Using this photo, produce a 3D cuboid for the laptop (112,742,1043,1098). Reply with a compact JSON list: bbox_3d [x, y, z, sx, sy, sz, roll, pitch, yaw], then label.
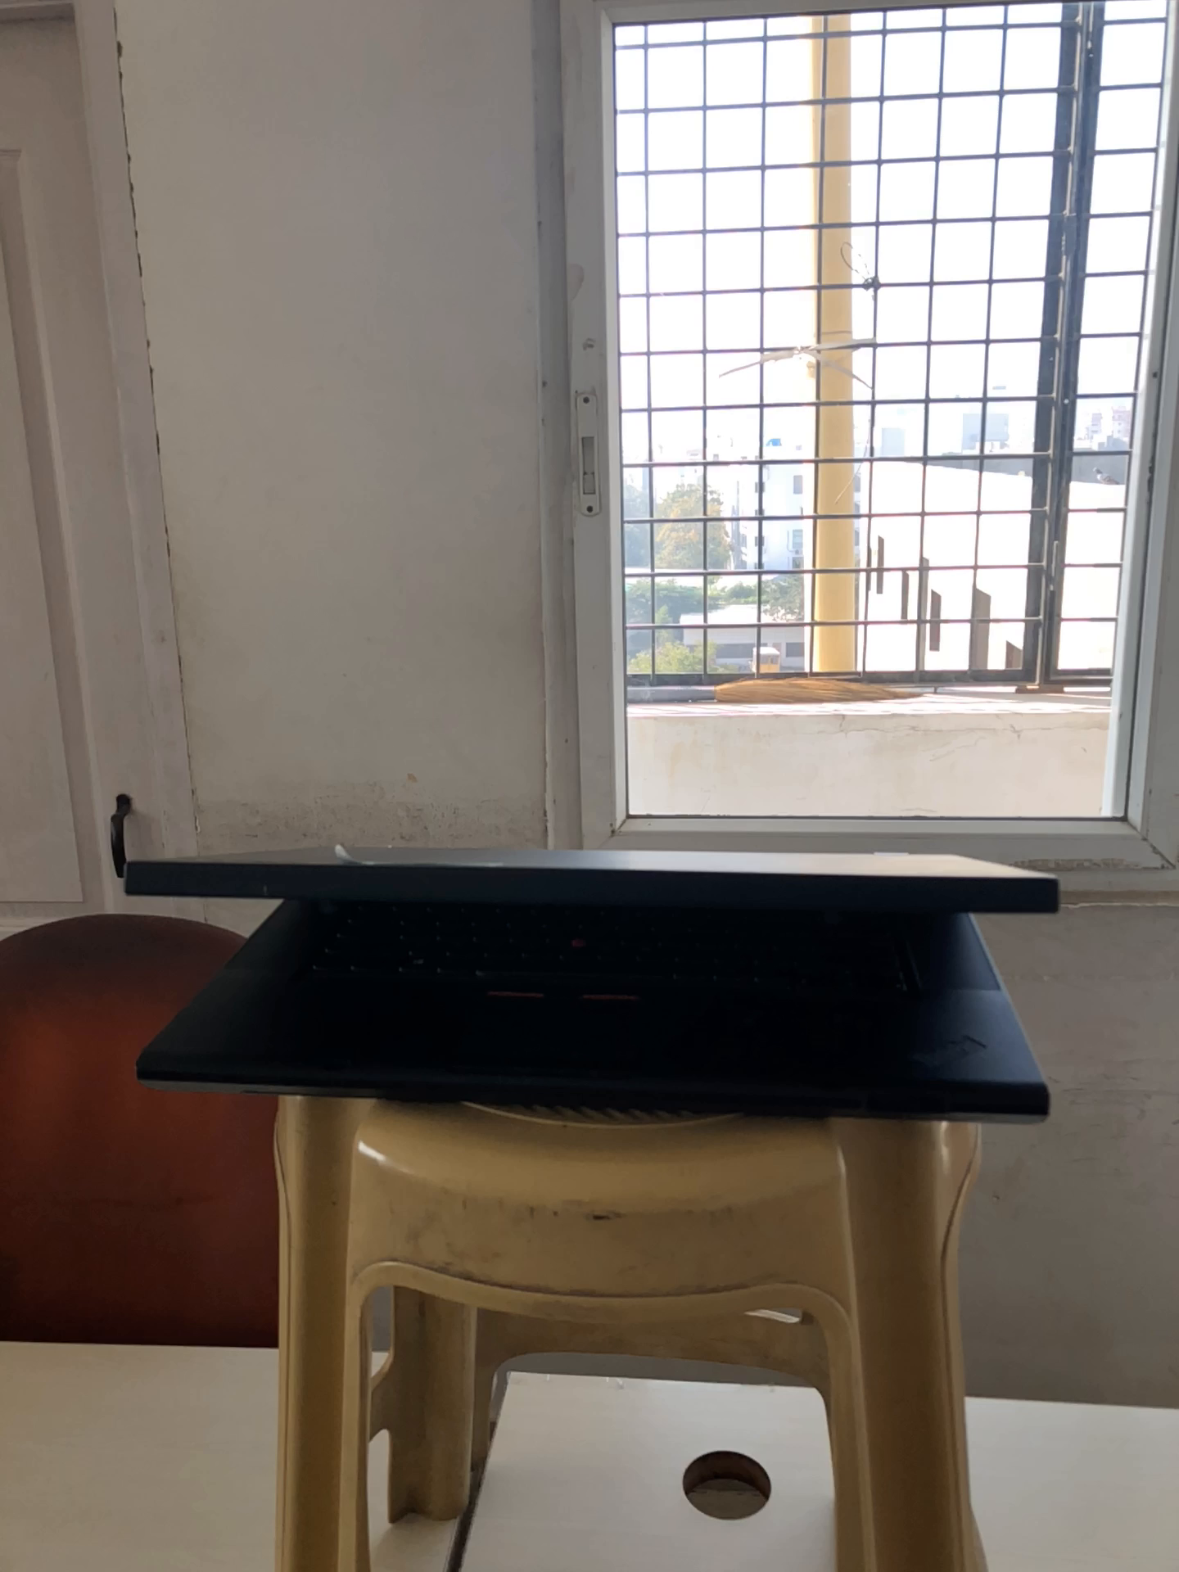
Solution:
[{"bbox_3d":[0.005,0.047,0.617,0.362,0.075,0.235,0,17,7],"label":"laptop"}]
